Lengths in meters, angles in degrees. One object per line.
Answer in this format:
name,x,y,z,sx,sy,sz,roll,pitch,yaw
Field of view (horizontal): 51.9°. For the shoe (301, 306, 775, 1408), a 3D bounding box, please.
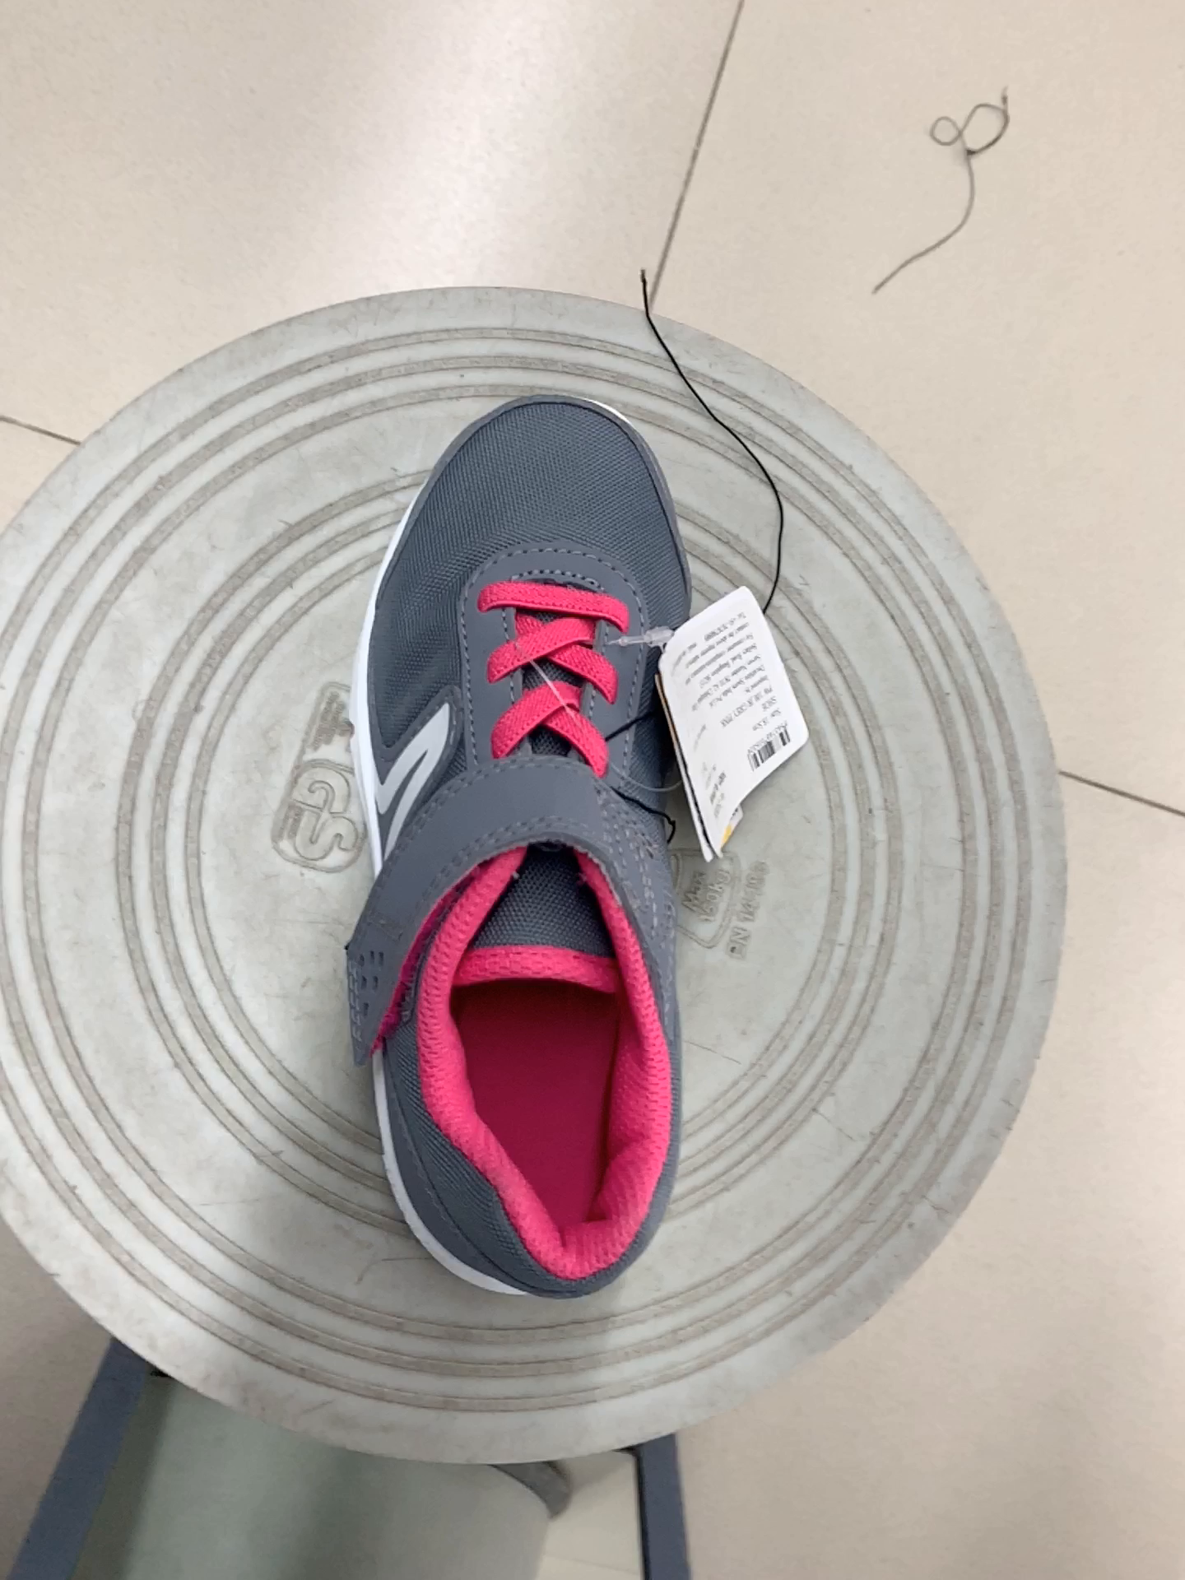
shoe,-0.013,0.013,0.238,0.070,0.090,0.170,3,82,-10
